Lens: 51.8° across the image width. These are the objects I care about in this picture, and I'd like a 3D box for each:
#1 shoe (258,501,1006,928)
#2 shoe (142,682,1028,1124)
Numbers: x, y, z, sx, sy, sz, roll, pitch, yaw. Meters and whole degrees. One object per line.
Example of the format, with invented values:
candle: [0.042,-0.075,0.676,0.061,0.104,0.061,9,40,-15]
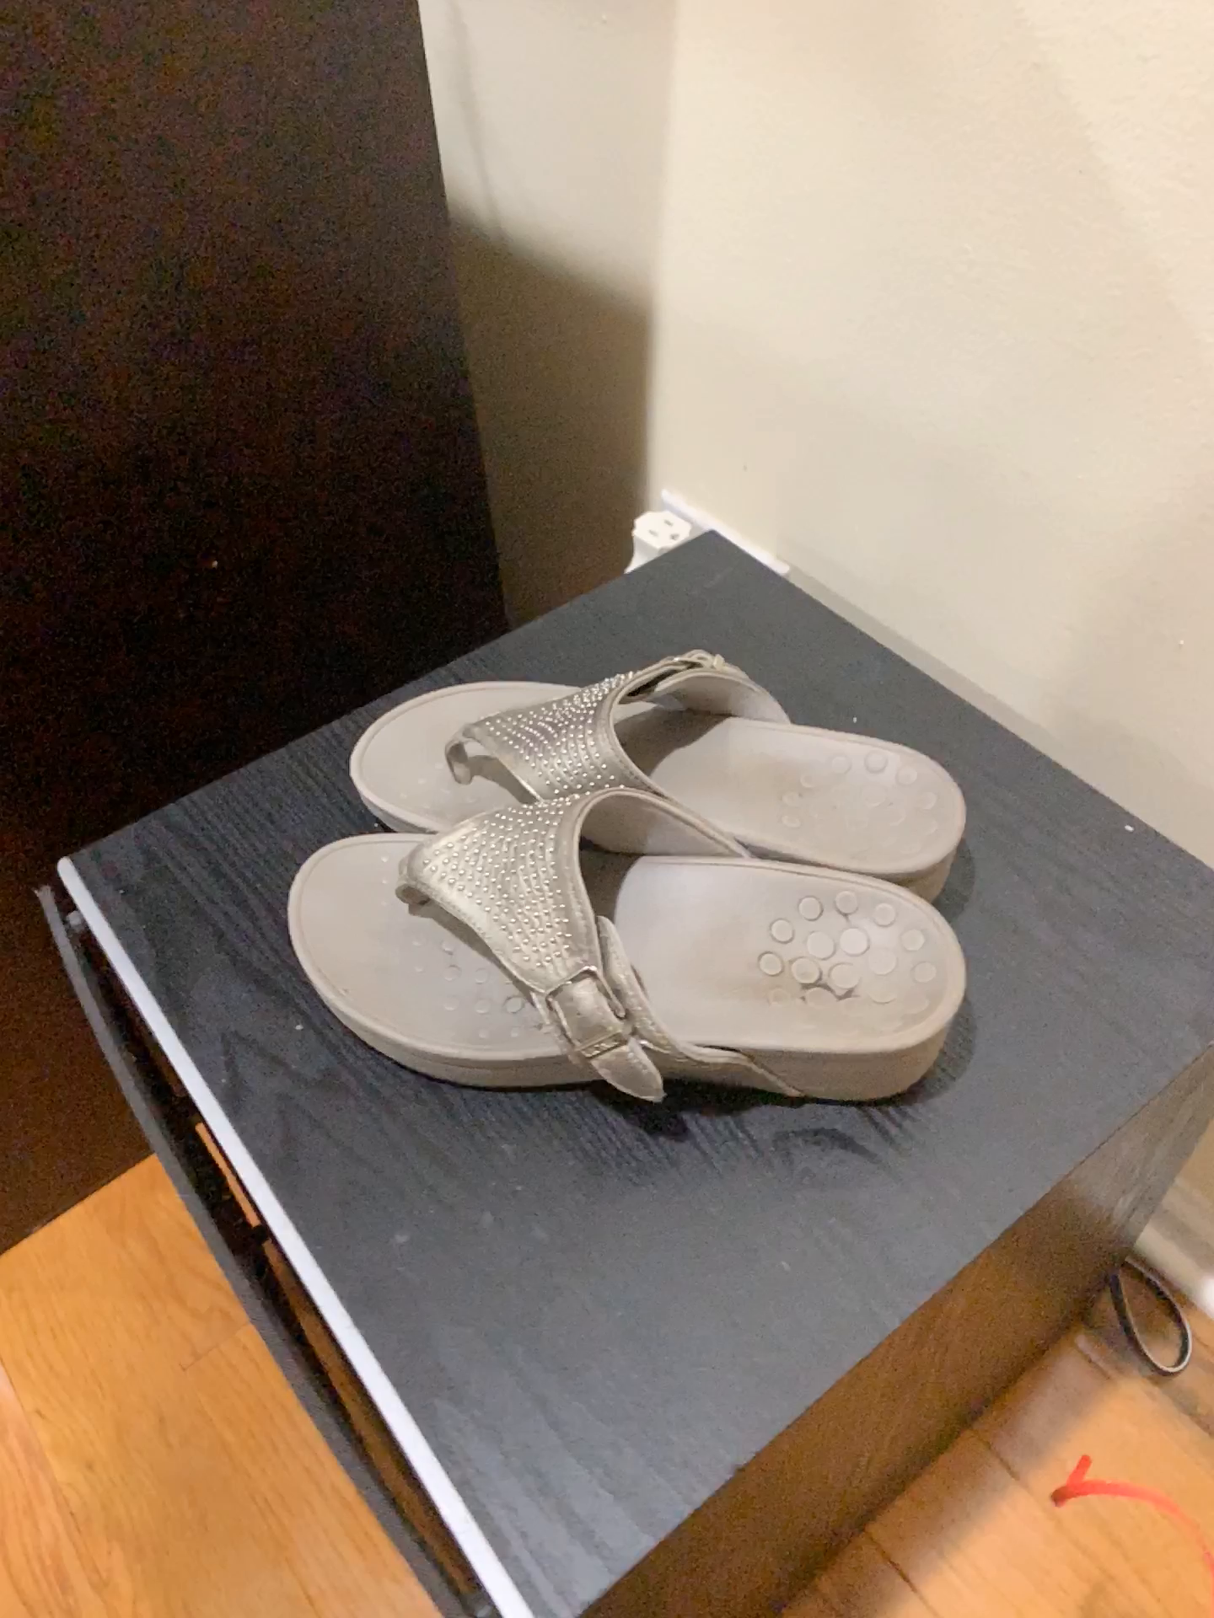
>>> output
shoe: [0.015,-0.040,0.470,0.247,0.080,0.109,8,49,10]
shoe: [-0.004,0.028,0.412,0.247,0.080,0.109,2,48,6]
